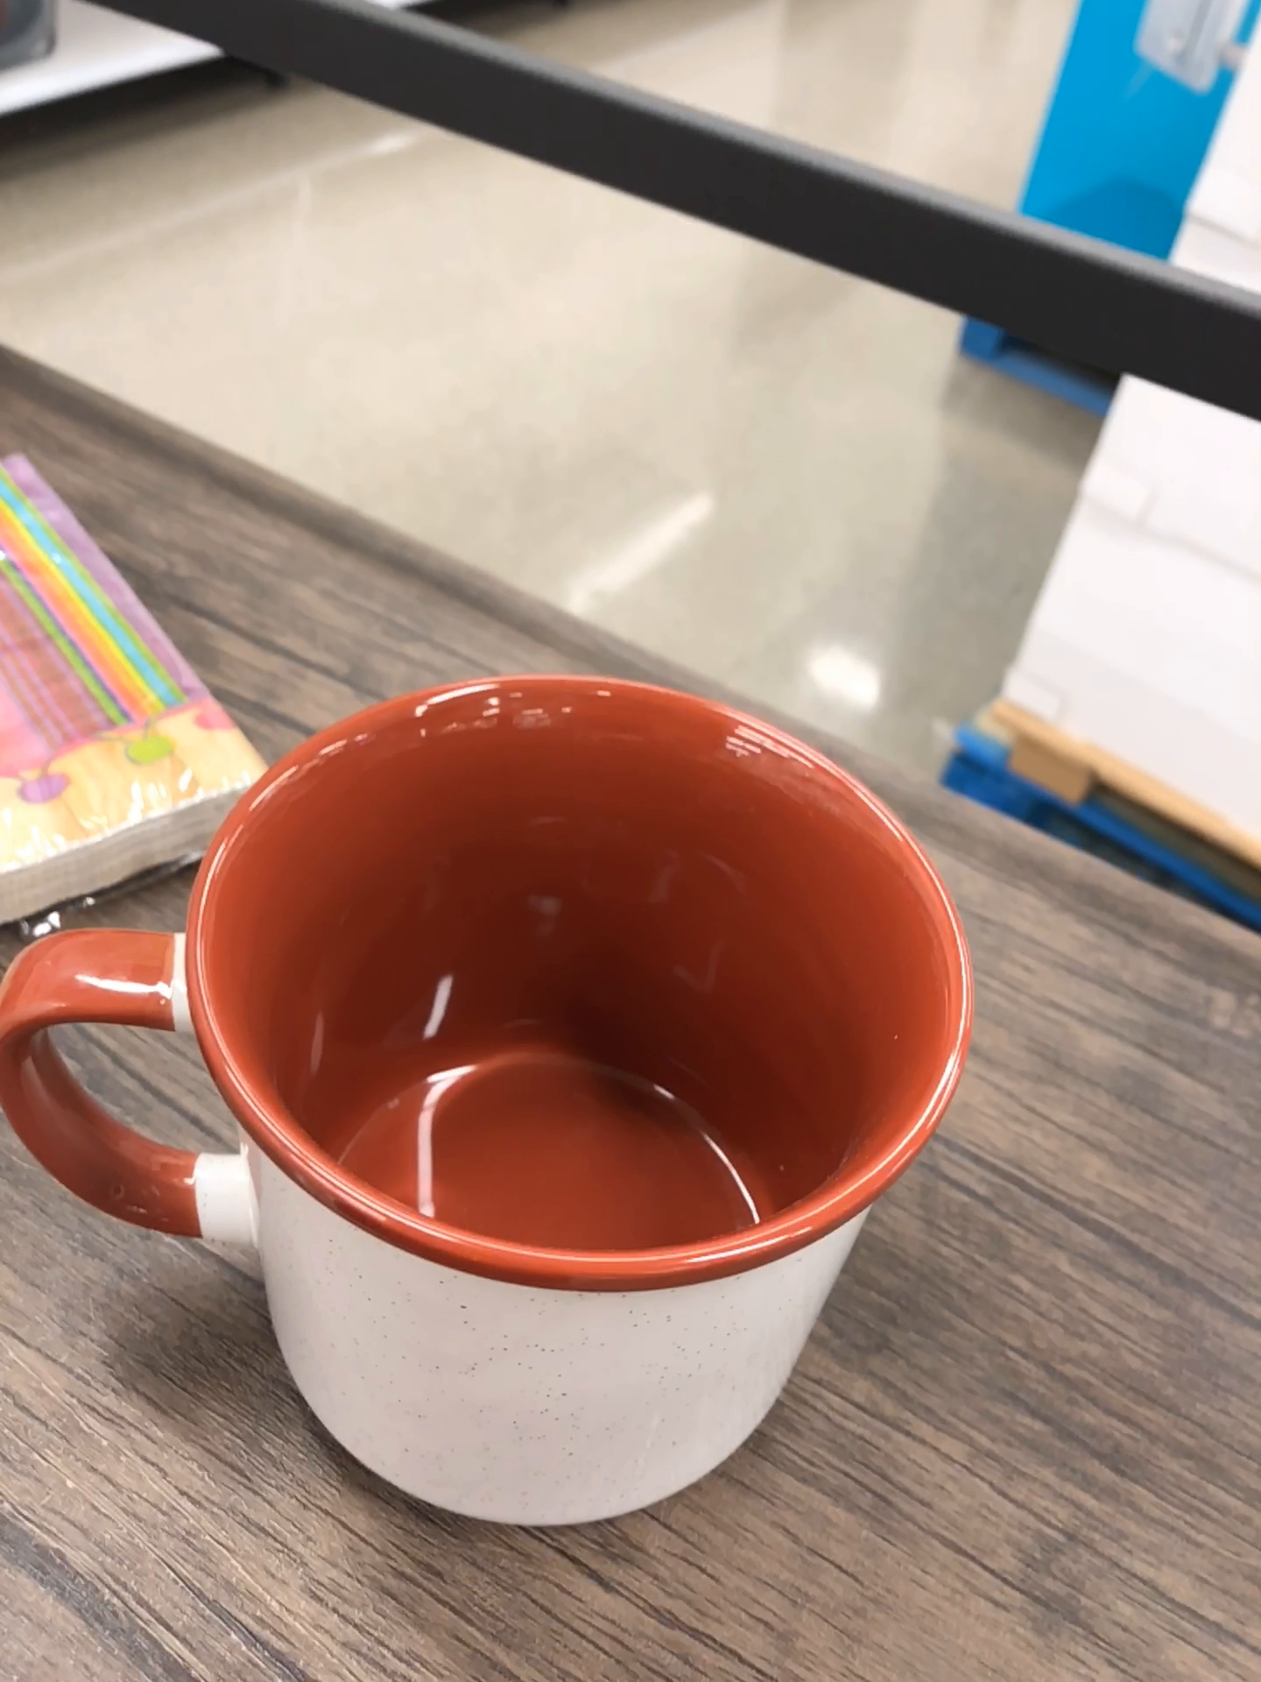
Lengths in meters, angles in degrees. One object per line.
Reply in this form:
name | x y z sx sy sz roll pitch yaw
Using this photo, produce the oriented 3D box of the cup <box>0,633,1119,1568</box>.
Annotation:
cup | -0.025 0.040 0.227 0.150 0.090 0.110 2 45 -6
